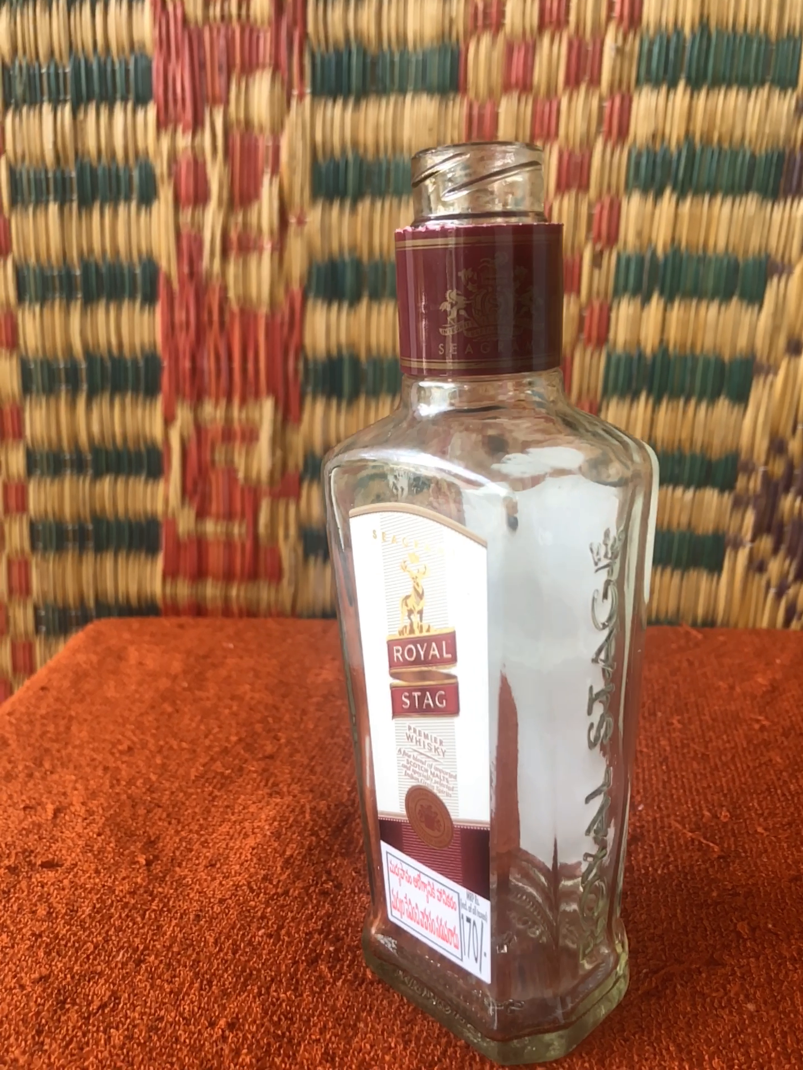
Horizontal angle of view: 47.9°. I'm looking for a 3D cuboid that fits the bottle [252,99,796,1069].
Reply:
[{"bbox_3d":[0.022,0.012,0.167,0.060,0.159,0.060,-2,19,1],"label":"bottle"}]
